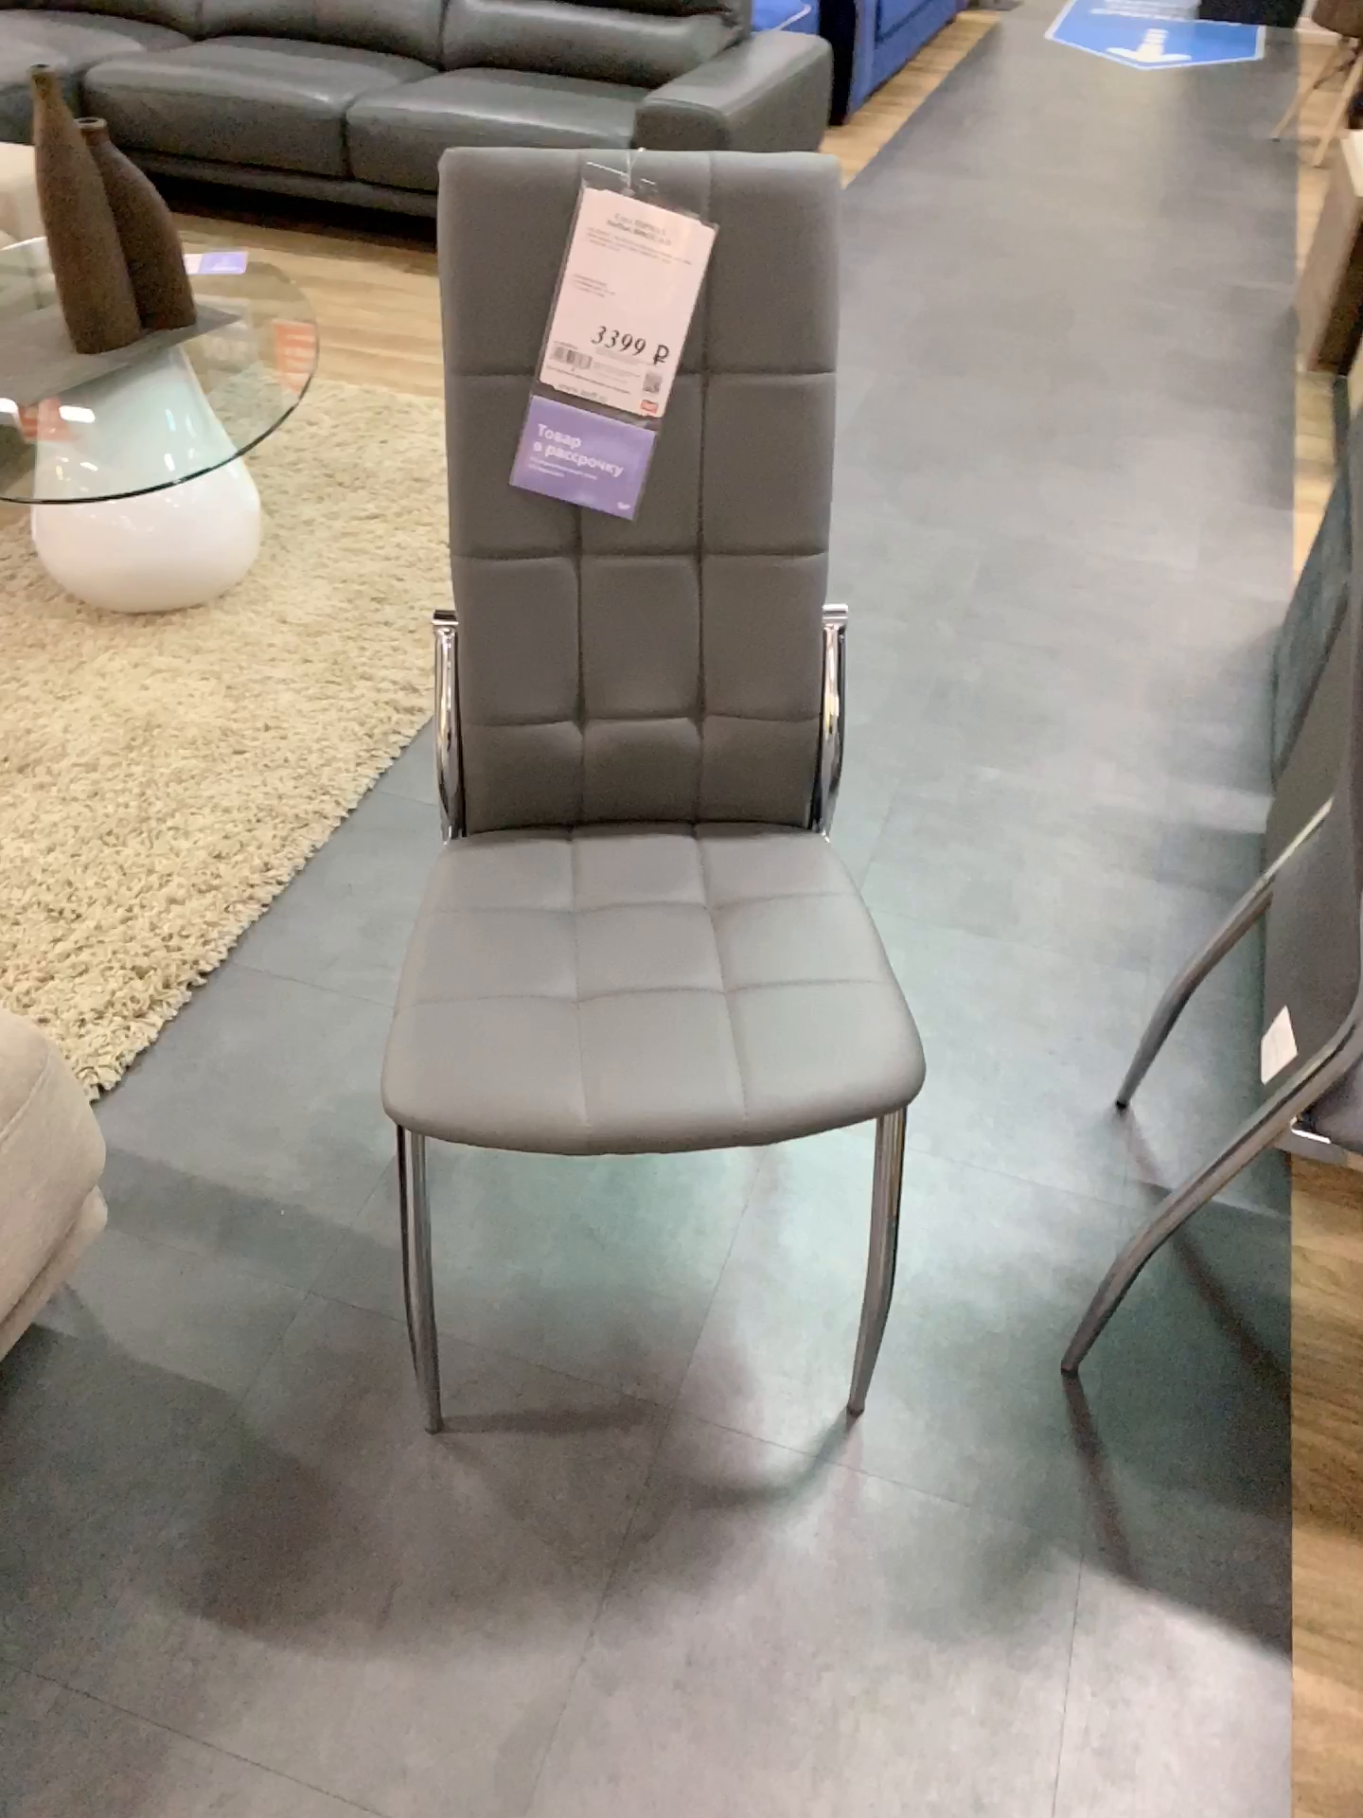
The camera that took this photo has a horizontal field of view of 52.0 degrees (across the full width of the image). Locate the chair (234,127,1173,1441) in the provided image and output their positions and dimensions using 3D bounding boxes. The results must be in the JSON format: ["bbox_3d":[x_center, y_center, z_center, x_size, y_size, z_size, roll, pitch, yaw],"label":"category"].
[{"bbox_3d":[-0.016,-0.046,1.234,0.470,1.024,0.533,-1,41,-4],"label":"chair"}]

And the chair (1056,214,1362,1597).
[{"bbox_3d":[0.745,0.050,1.203,0.550,1.024,0.452,16,43,15],"label":"chair"}]
